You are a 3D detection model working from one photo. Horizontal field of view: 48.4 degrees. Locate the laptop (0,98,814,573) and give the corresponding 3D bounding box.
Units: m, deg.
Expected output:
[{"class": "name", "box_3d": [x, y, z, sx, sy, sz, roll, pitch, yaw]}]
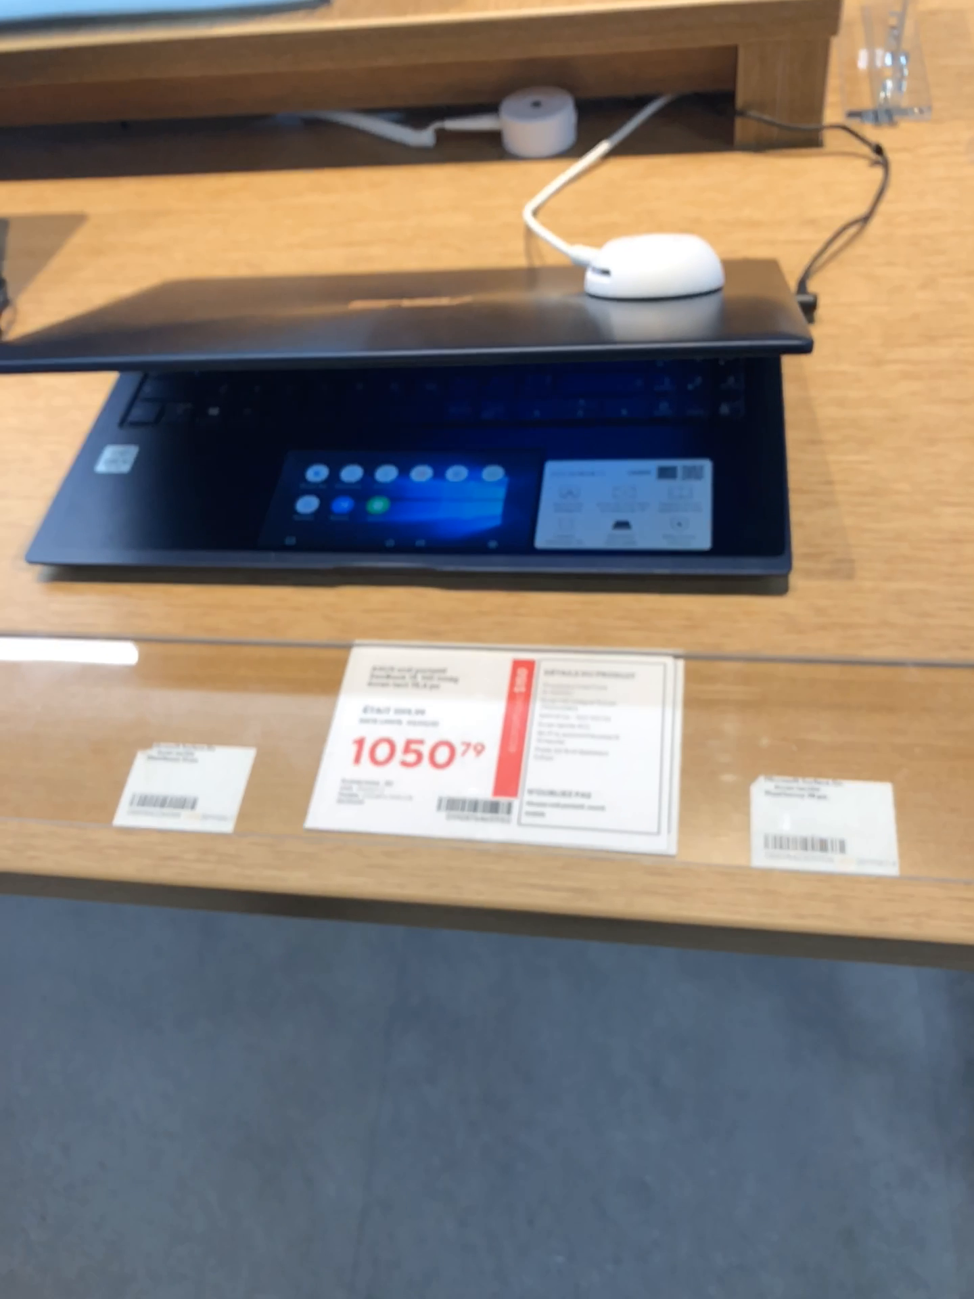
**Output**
[{"class": "laptop", "box_3d": [-0.040, -0.147, 0.505, 0.352, 0.098, 0.209, 2, 52, 9]}]
